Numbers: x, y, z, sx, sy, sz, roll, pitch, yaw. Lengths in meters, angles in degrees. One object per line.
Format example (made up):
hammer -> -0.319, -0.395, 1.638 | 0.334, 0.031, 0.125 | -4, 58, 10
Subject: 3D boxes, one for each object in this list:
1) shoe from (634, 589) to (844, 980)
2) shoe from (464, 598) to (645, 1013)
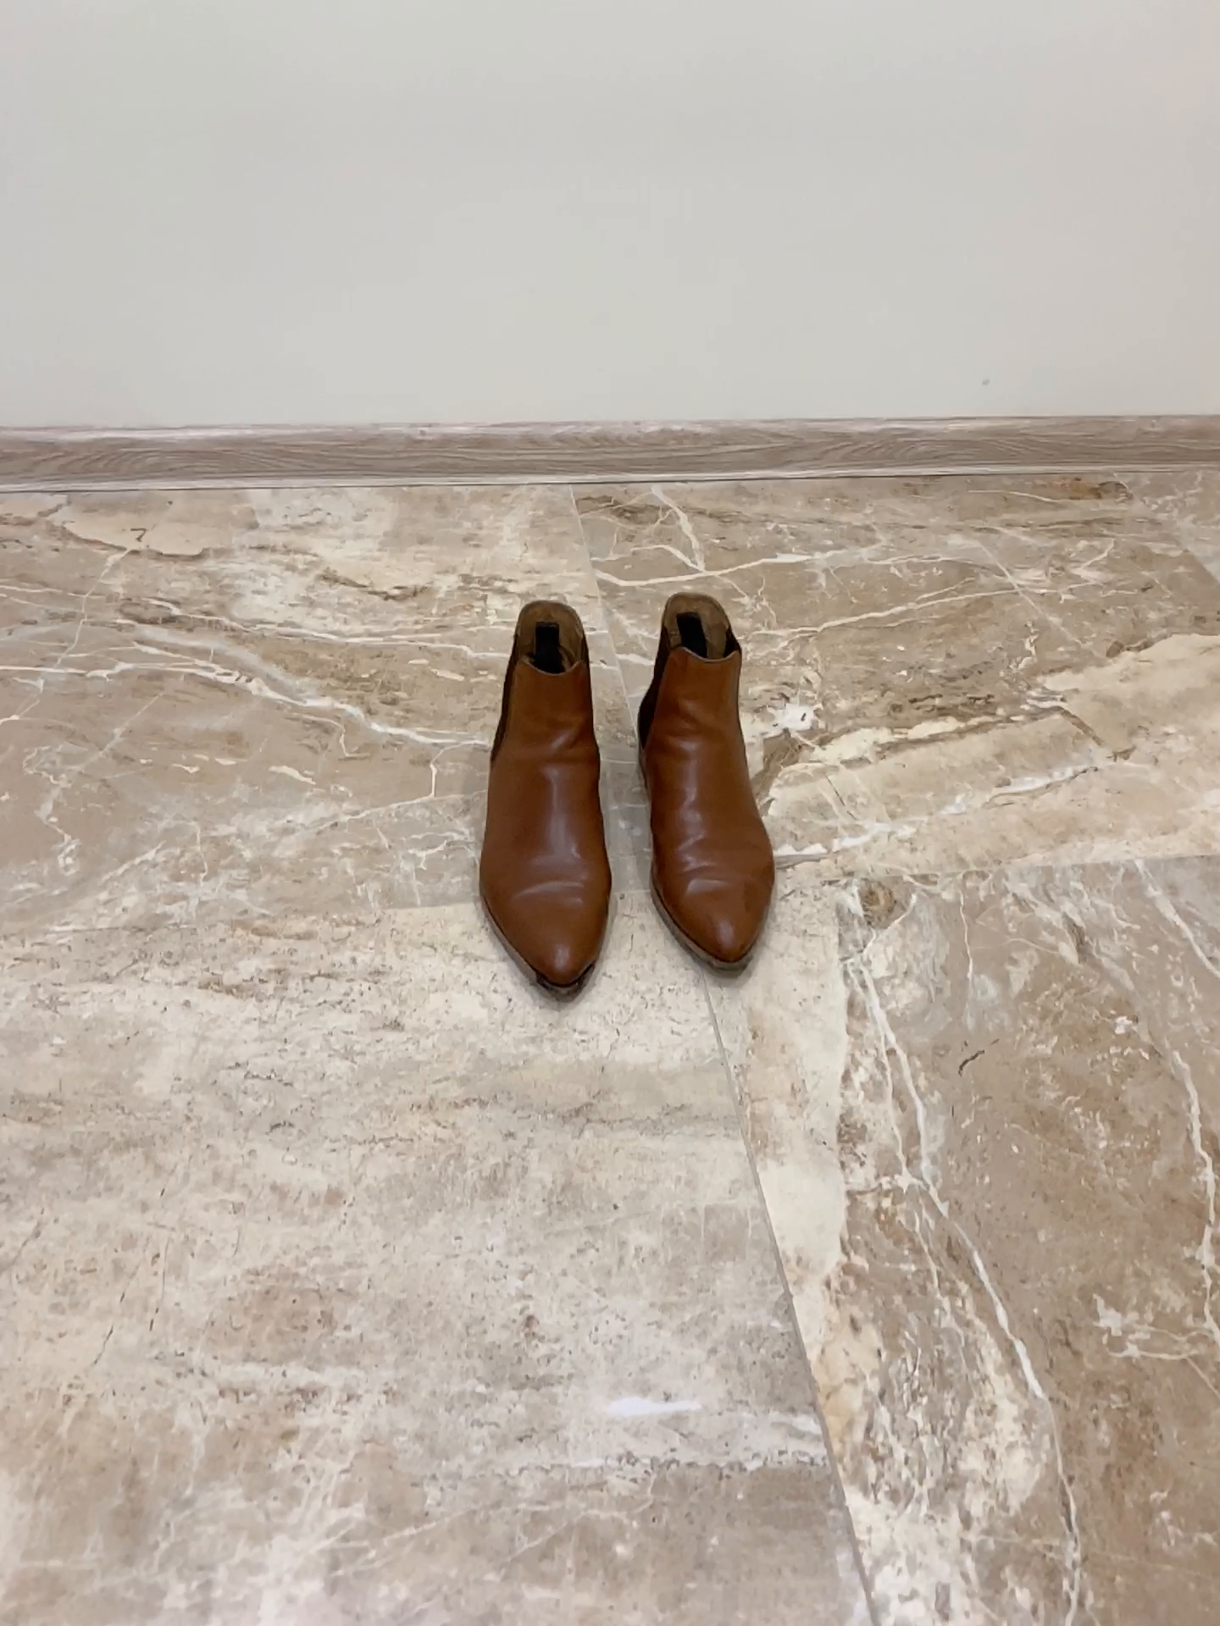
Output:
shoe -> 0.073, -0.027, 0.811 | 0.090, 0.119, 0.251 | 1, 41, -5
shoe -> -0.044, -0.014, 0.796 | 0.090, 0.129, 0.251 | -2, 42, -7
